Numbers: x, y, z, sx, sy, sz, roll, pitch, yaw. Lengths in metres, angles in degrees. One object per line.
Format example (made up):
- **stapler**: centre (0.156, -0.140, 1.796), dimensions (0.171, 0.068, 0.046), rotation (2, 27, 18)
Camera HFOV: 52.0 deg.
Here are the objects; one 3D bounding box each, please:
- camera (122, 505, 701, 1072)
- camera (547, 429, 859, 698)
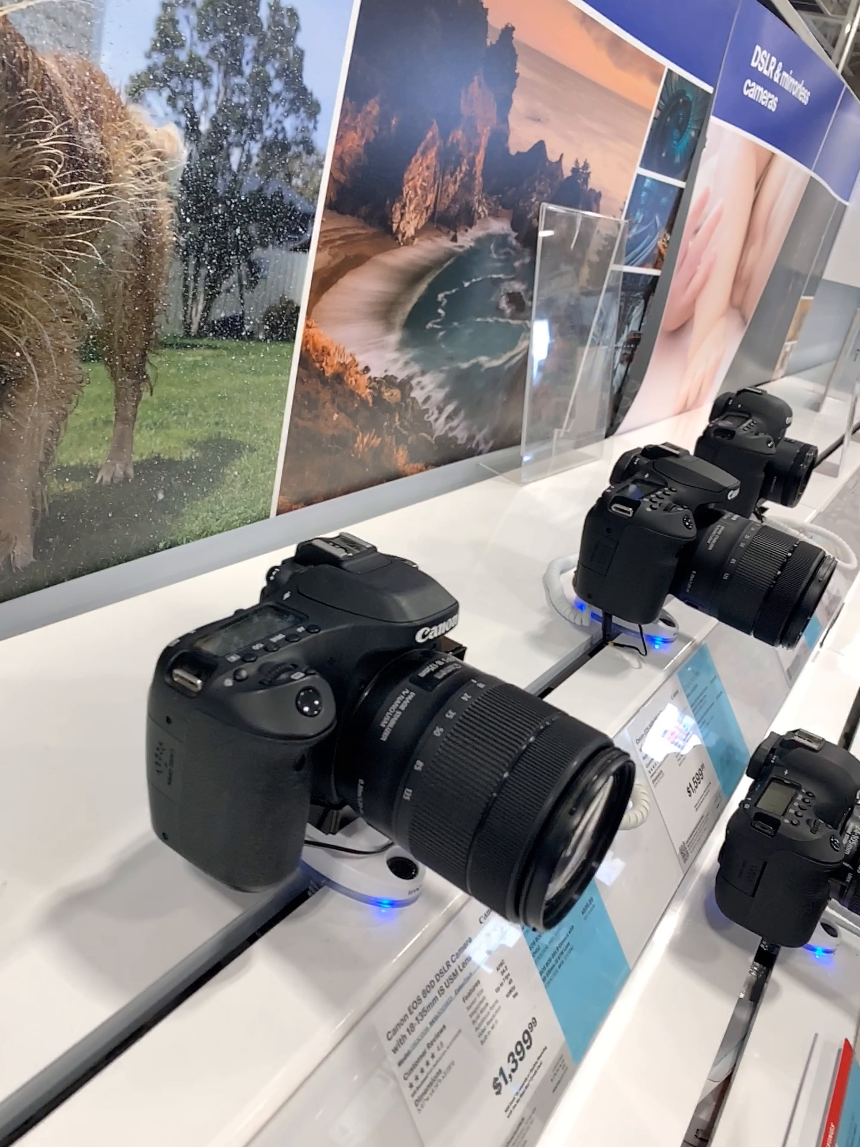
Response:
- **camera**: centre (-0.006, 0.062, 0.345), dimensions (0.160, 0.100, 0.140), rotation (25, 27, 24)
- **camera**: centre (0.194, -0.017, 0.610), dimensions (0.160, 0.100, 0.140), rotation (25, 27, 24)
